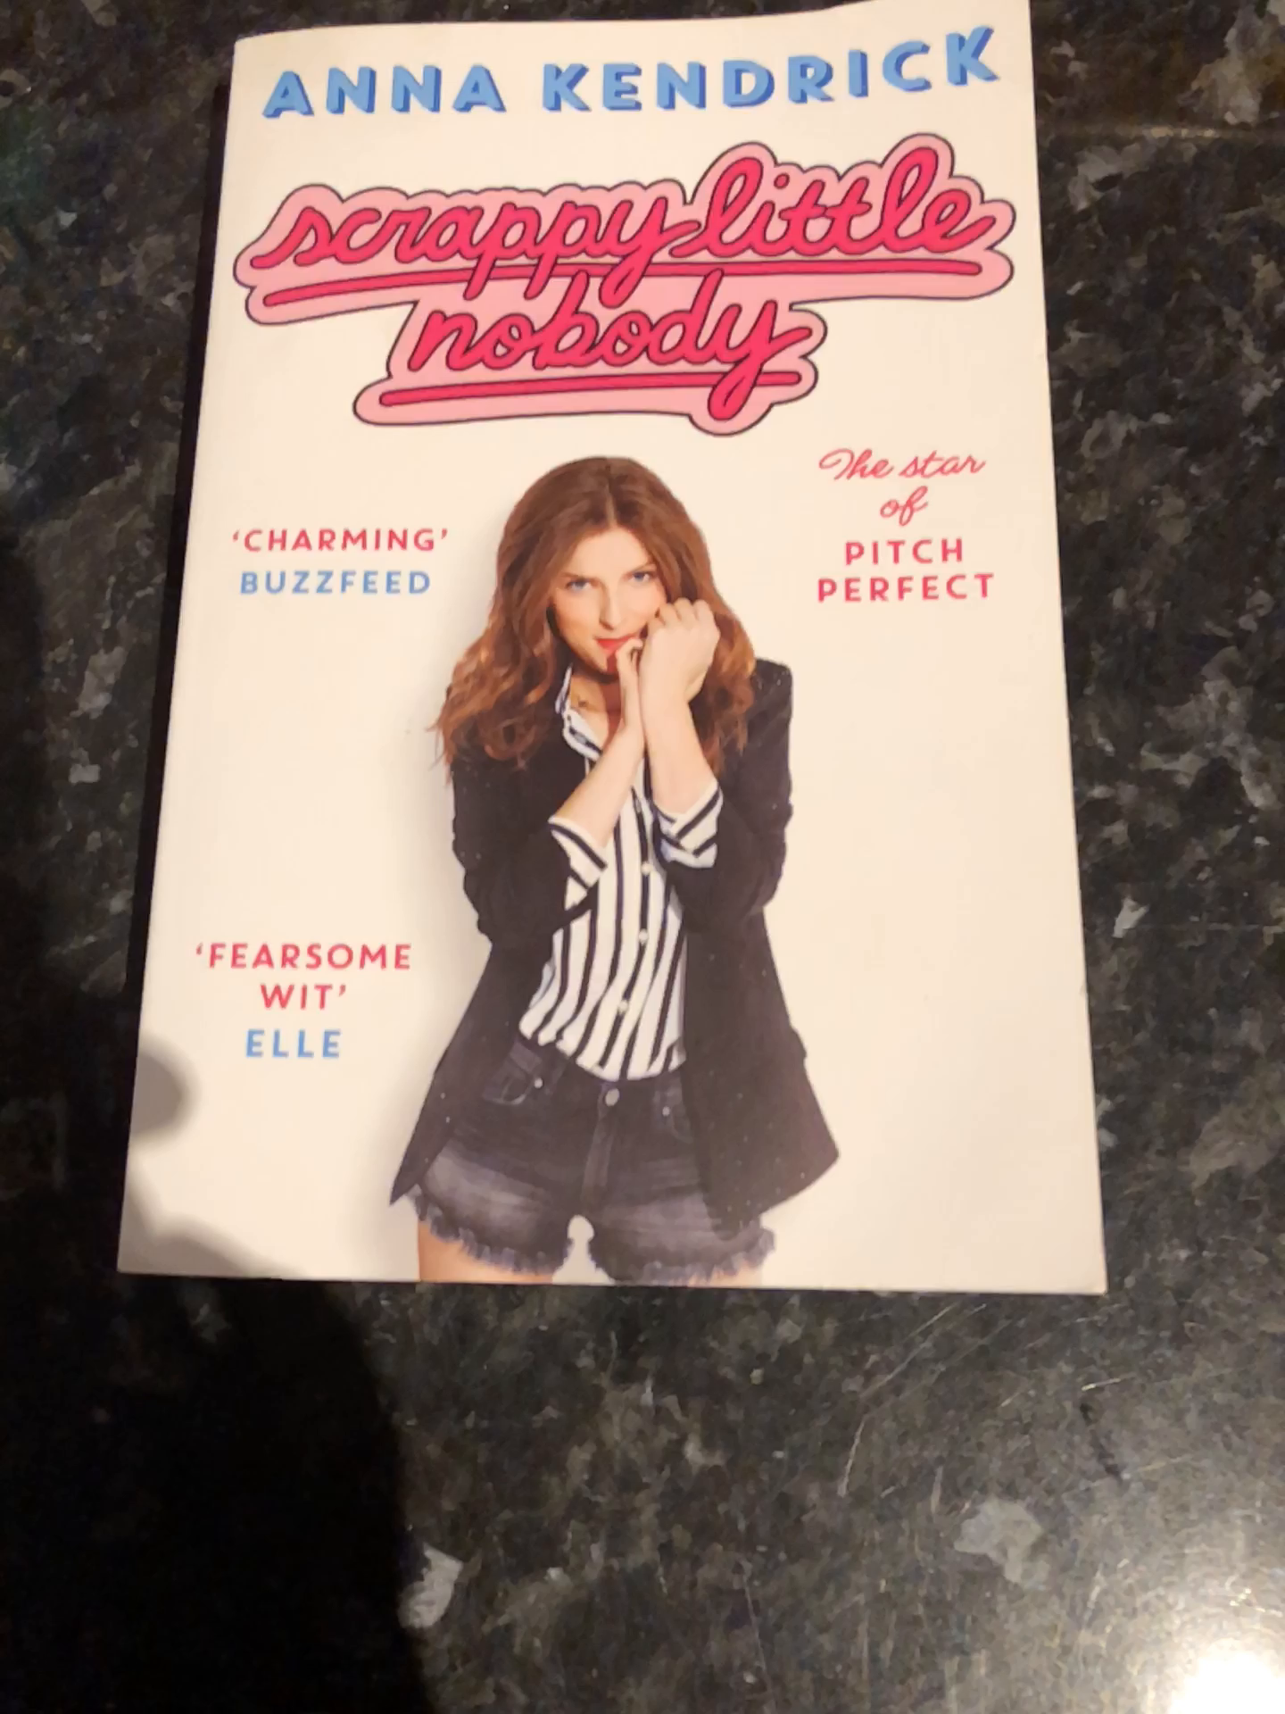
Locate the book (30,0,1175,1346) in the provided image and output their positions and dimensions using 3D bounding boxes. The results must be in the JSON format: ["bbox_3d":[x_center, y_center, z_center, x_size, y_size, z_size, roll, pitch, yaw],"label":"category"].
[{"bbox_3d":[-0.003,-0.037,0.224,0.140,0.050,0.210,1,75,0],"label":"book"}]
